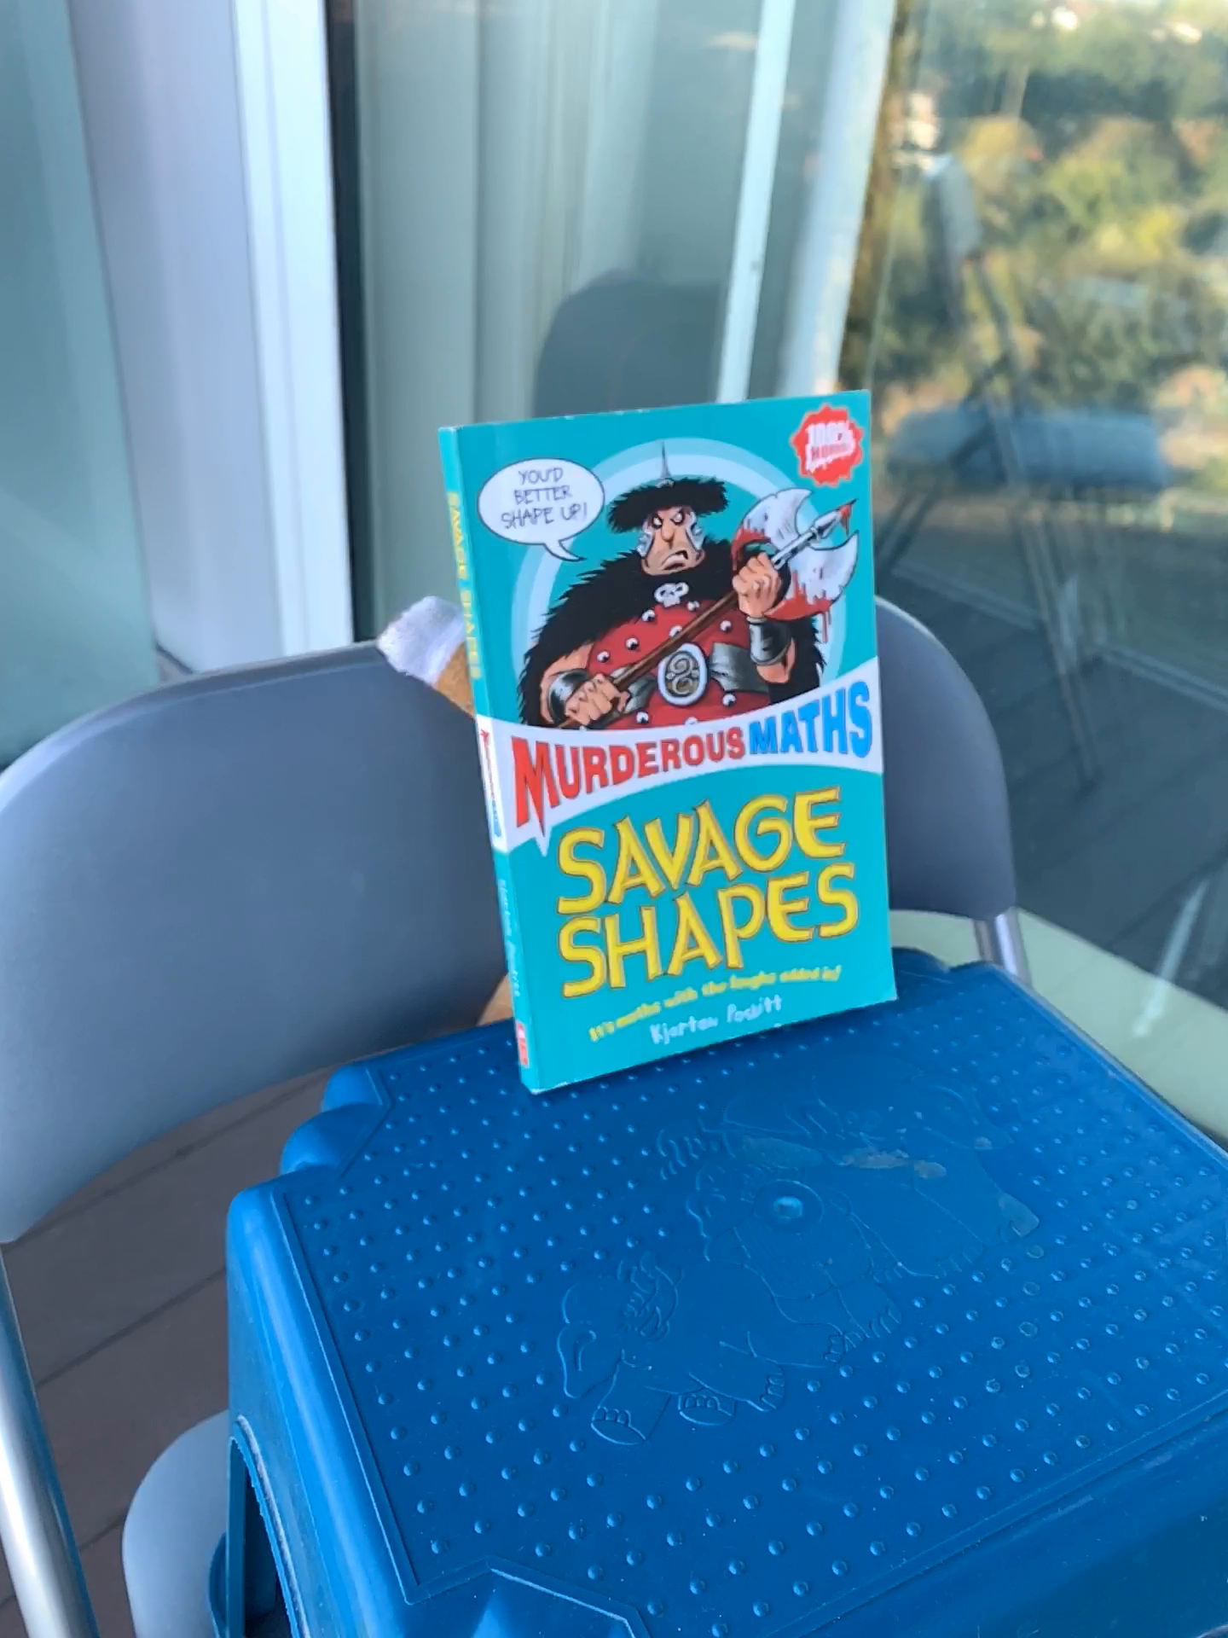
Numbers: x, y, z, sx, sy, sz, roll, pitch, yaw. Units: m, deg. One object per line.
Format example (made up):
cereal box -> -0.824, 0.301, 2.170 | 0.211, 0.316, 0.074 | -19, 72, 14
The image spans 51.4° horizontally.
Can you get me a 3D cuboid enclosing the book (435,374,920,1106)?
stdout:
book -> 0.026, -0.026, 0.378 | 0.134, 0.193, 0.029 | -11, 16, -23
